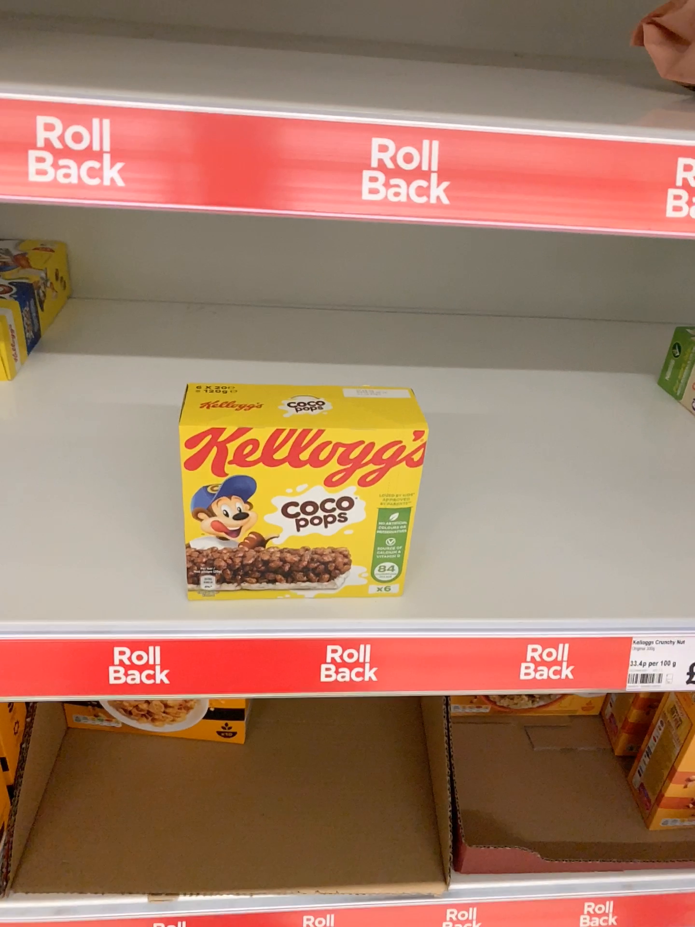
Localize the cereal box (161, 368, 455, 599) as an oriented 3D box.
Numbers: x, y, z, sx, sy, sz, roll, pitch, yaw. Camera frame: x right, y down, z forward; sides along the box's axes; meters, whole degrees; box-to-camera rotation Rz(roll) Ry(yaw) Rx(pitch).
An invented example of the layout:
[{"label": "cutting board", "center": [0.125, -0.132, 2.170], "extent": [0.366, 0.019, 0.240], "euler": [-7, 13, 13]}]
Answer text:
[{"label": "cereal box", "center": [-0.026, 0.013, 0.421], "extent": [0.150, 0.119, 0.061], "euler": [0, 33, -8]}]
